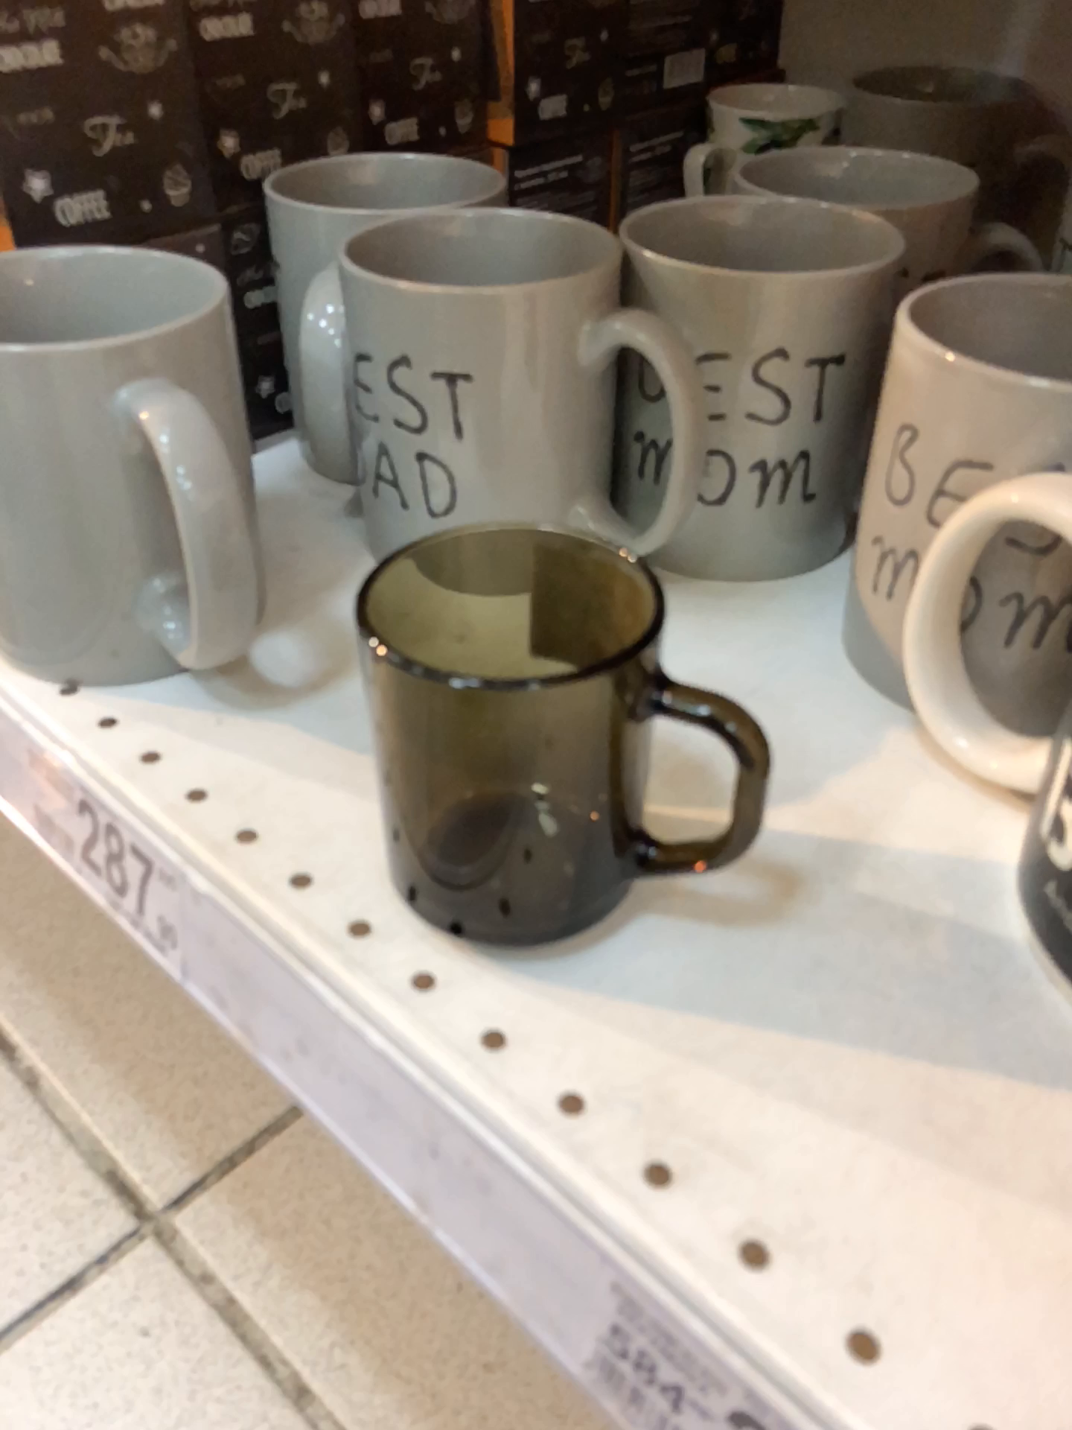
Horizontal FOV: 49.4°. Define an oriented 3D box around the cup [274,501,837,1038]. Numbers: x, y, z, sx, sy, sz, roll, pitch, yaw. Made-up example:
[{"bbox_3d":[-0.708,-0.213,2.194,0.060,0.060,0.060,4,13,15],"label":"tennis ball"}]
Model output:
[{"bbox_3d":[0.008,0.008,0.283,0.105,0.074,0.082,13,38,16],"label":"cup"}]
